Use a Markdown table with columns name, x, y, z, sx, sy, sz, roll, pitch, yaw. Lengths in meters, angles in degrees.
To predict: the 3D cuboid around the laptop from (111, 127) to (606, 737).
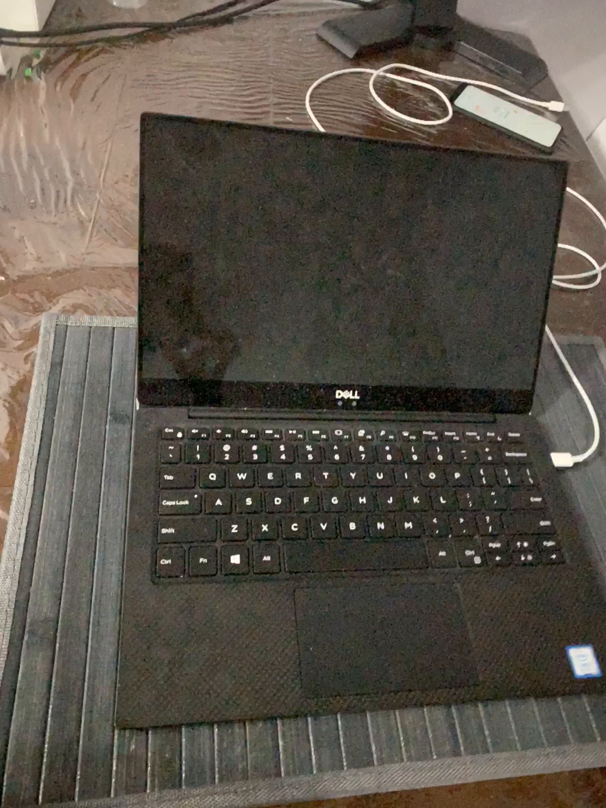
| name | x | y | z | sx | sy | sz | roll | pitch | yaw |
| --- | --- | --- | --- | --- | --- | --- | --- | --- | --- |
| laptop | 0.054 | 0.000 | 0.355 | 0.282 | 0.130 | 0.298 | 1 | 54 | -12 |
